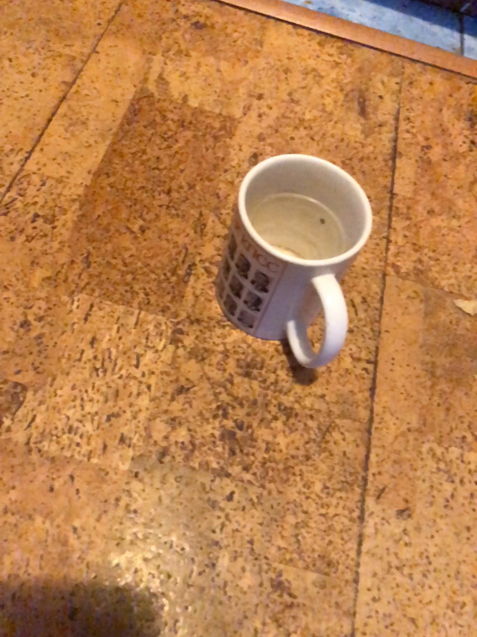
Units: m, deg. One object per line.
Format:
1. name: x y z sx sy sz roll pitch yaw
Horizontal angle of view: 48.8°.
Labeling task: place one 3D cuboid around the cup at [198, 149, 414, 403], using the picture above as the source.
1. cup: 0.031 -0.025 0.334 0.083 0.100 0.119 -7 64 -15
